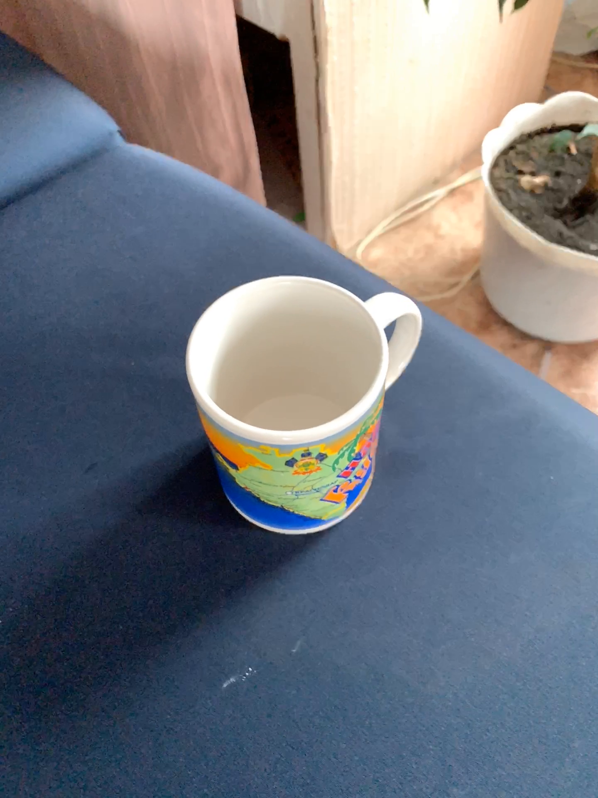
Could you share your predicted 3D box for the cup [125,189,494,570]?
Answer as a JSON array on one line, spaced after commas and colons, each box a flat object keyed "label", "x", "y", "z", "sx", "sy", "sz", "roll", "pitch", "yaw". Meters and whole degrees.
[{"label": "cup", "x": 0.008, "y": -0.008, "z": 0.294, "sx": 0.120, "sy": 0.099, "sz": 0.090, "roll": -40, "pitch": 63, "yaw": -18}]
